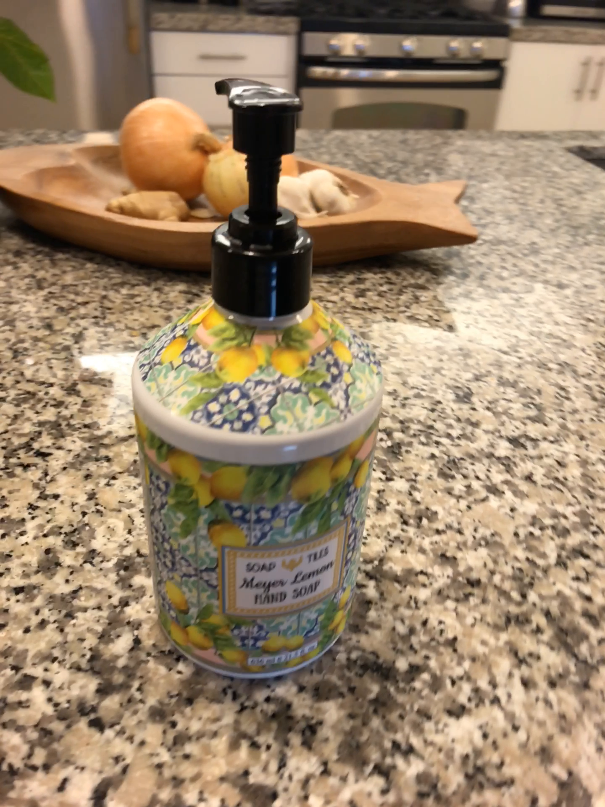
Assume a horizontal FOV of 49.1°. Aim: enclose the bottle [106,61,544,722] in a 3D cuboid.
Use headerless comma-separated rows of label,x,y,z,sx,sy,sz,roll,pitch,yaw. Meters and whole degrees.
bottle,-0.008,0.002,0.226,0.090,0.199,0.091,3,35,-2
